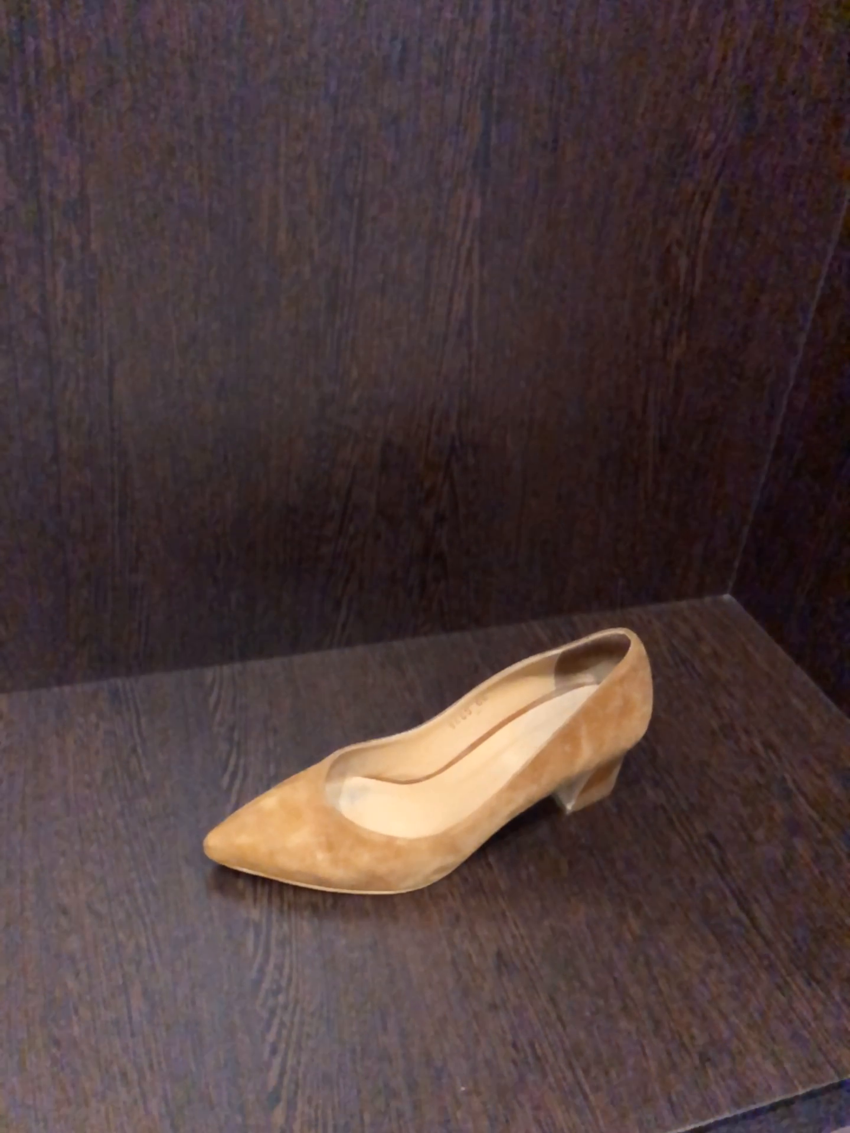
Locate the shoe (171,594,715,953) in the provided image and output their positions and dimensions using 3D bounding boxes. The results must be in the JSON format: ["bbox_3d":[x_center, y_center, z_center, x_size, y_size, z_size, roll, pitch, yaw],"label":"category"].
[{"bbox_3d":[0.010,0.104,0.515,0.270,0.100,0.090,-10,36,-20],"label":"shoe"}]
